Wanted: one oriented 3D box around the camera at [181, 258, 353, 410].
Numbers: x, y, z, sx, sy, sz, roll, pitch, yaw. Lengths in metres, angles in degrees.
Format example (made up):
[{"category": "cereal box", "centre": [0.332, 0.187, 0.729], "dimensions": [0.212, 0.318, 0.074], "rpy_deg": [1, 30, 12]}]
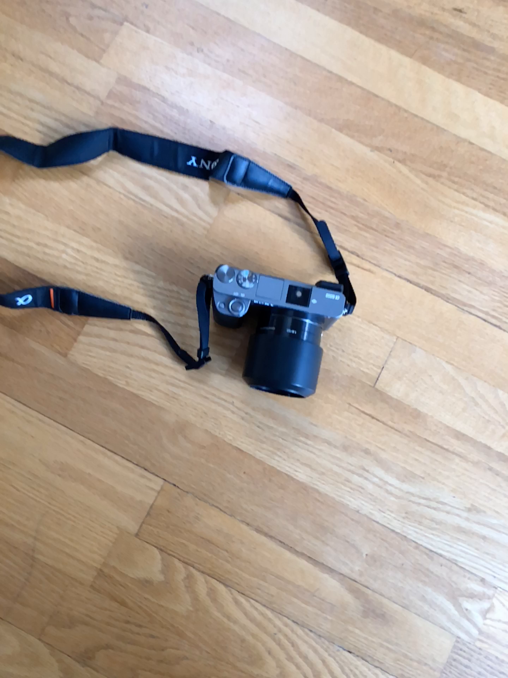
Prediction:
[{"category": "camera", "centre": [0.011, -0.001, 0.529], "dimensions": [0.136, 0.079, 0.106], "rpy_deg": [11, 78, -1]}]
